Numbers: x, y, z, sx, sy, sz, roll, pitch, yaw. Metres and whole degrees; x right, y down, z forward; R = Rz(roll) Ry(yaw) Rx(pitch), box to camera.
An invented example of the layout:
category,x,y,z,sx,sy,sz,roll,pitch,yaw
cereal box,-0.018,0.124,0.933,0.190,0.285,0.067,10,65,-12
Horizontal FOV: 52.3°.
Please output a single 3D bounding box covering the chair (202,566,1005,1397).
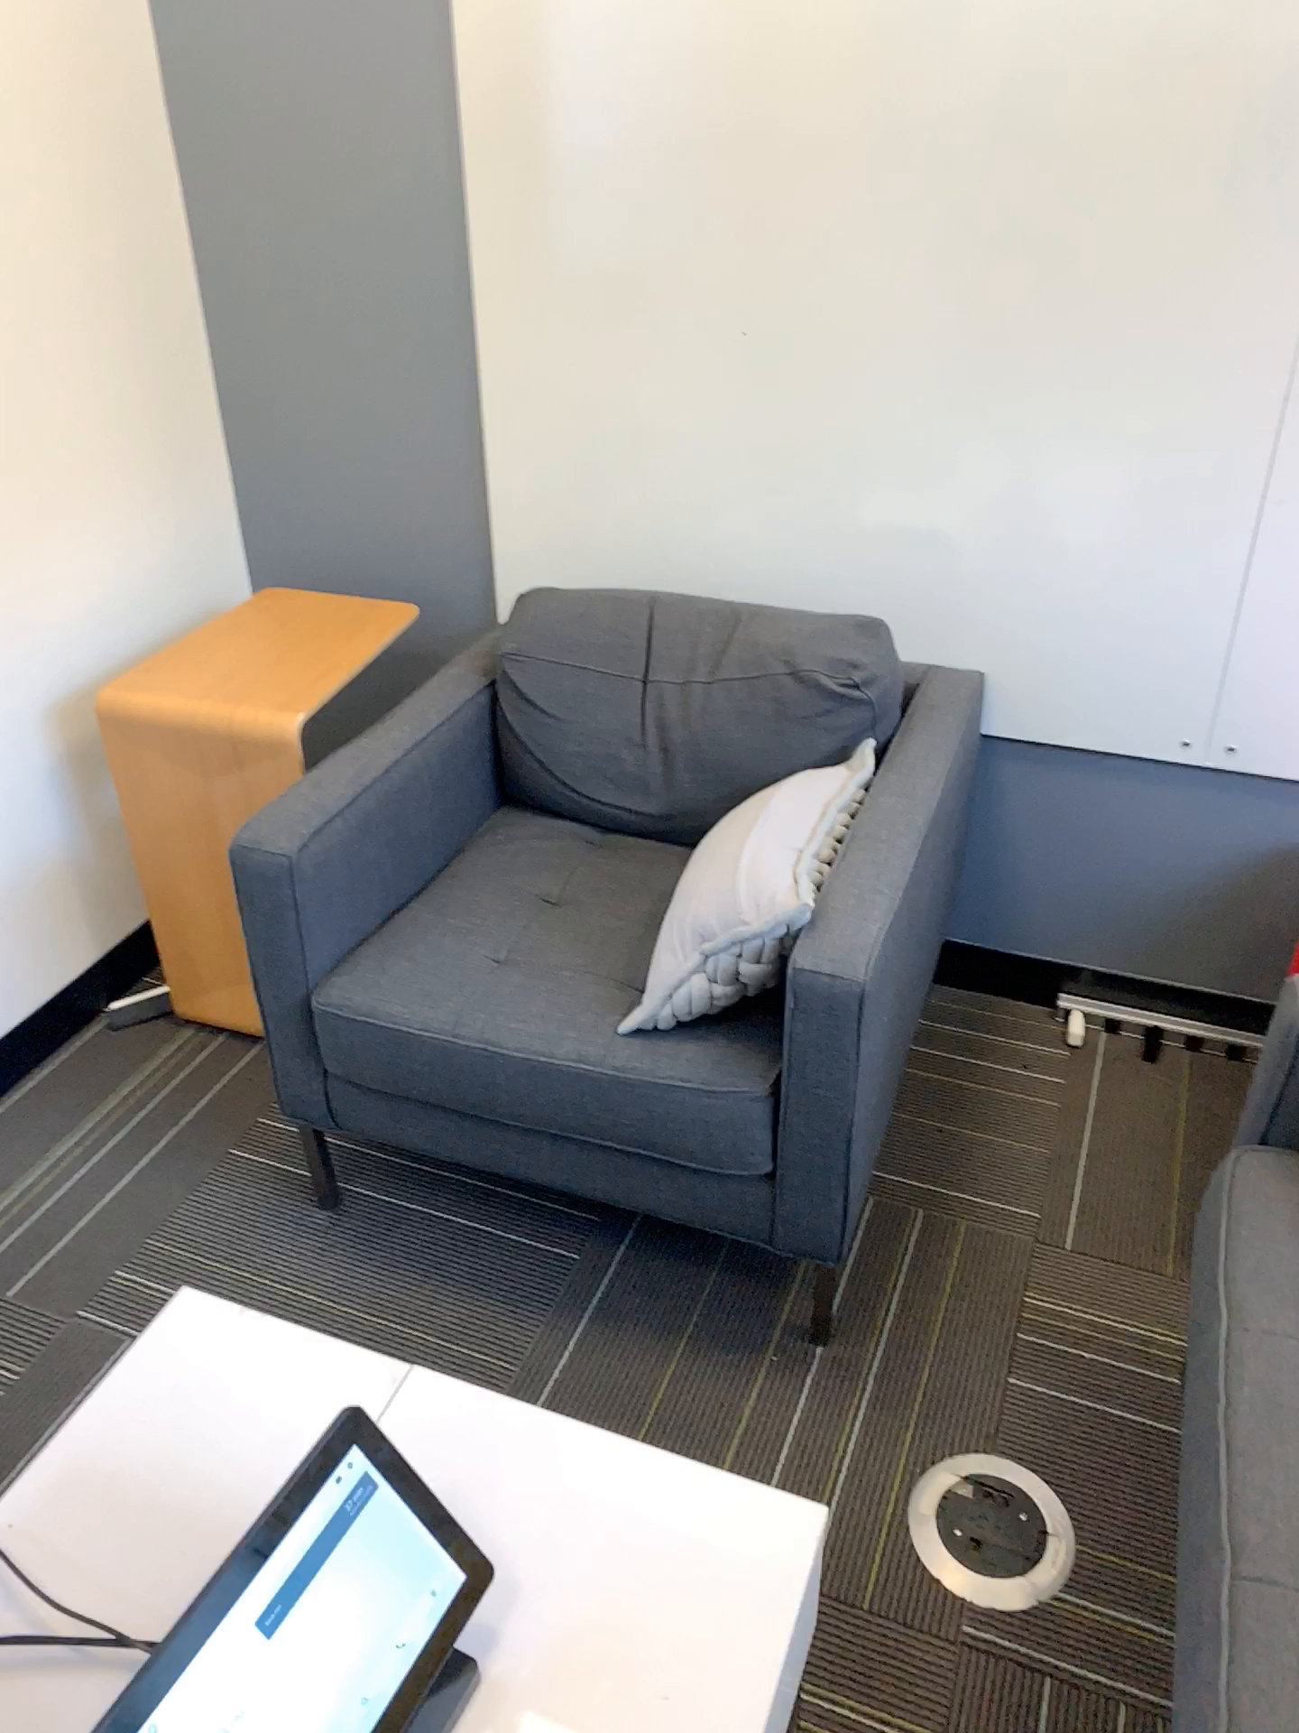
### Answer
category,x,y,z,sx,sy,sz,roll,pitch,yaw
chair,0.015,0.080,2.045,0.841,0.716,0.944,11,34,17
